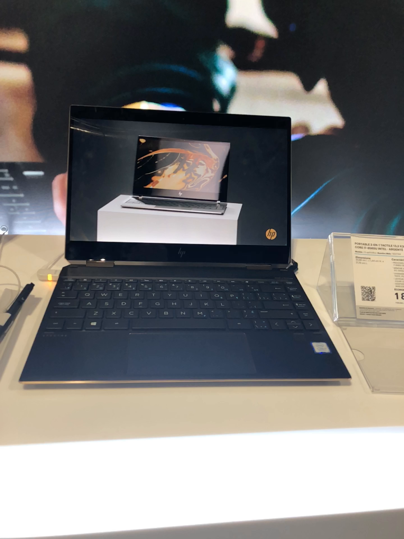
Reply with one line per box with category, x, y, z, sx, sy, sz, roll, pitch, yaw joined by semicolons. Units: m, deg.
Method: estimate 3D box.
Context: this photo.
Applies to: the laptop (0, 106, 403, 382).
laptop;-0.018;-0.061;0.511;0.305;0.172;0.347;1;29;-6
